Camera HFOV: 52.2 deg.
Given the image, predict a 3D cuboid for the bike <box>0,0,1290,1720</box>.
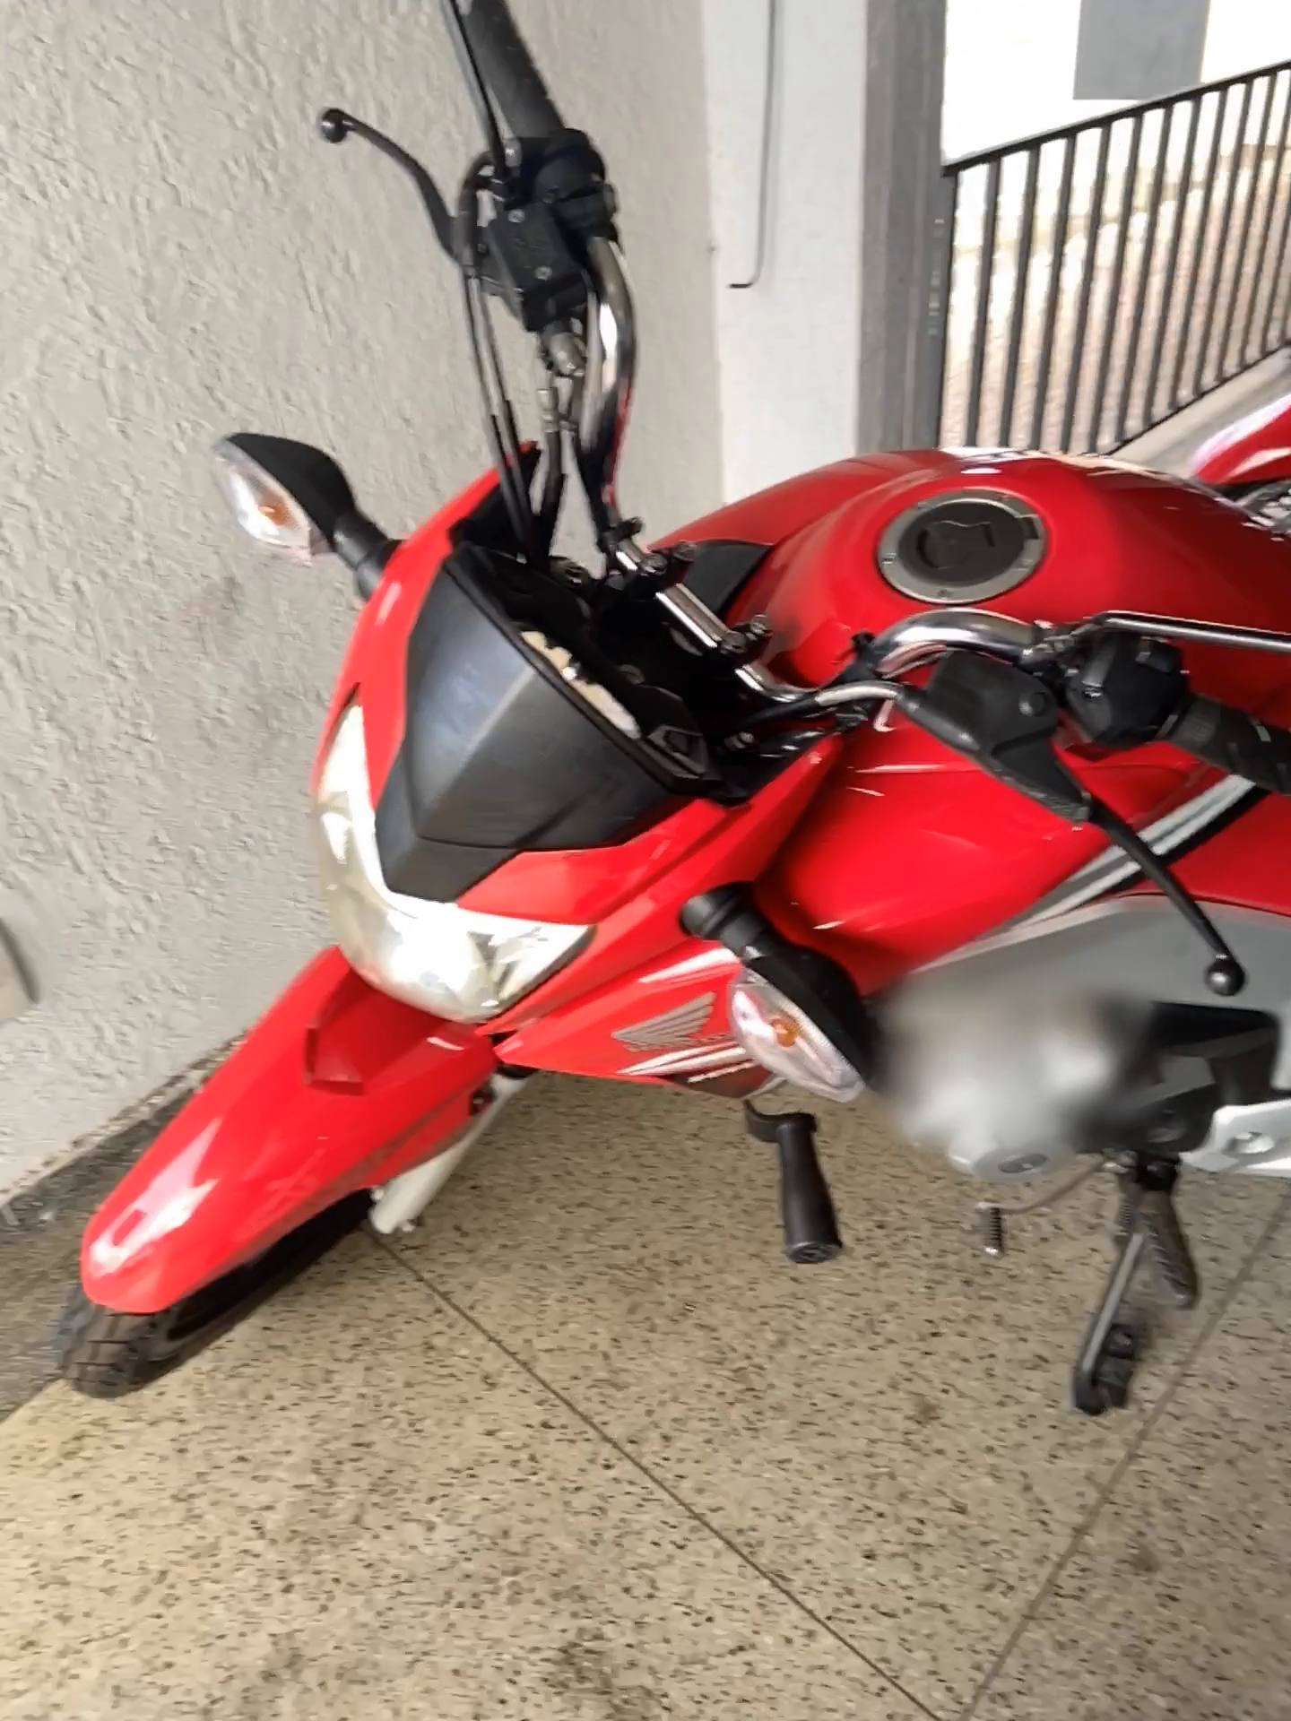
[{"bbox_3d":[0.412,0.156,1.086,1.991,1.421,0.873,-12,35,-5],"label":"bike"}]
